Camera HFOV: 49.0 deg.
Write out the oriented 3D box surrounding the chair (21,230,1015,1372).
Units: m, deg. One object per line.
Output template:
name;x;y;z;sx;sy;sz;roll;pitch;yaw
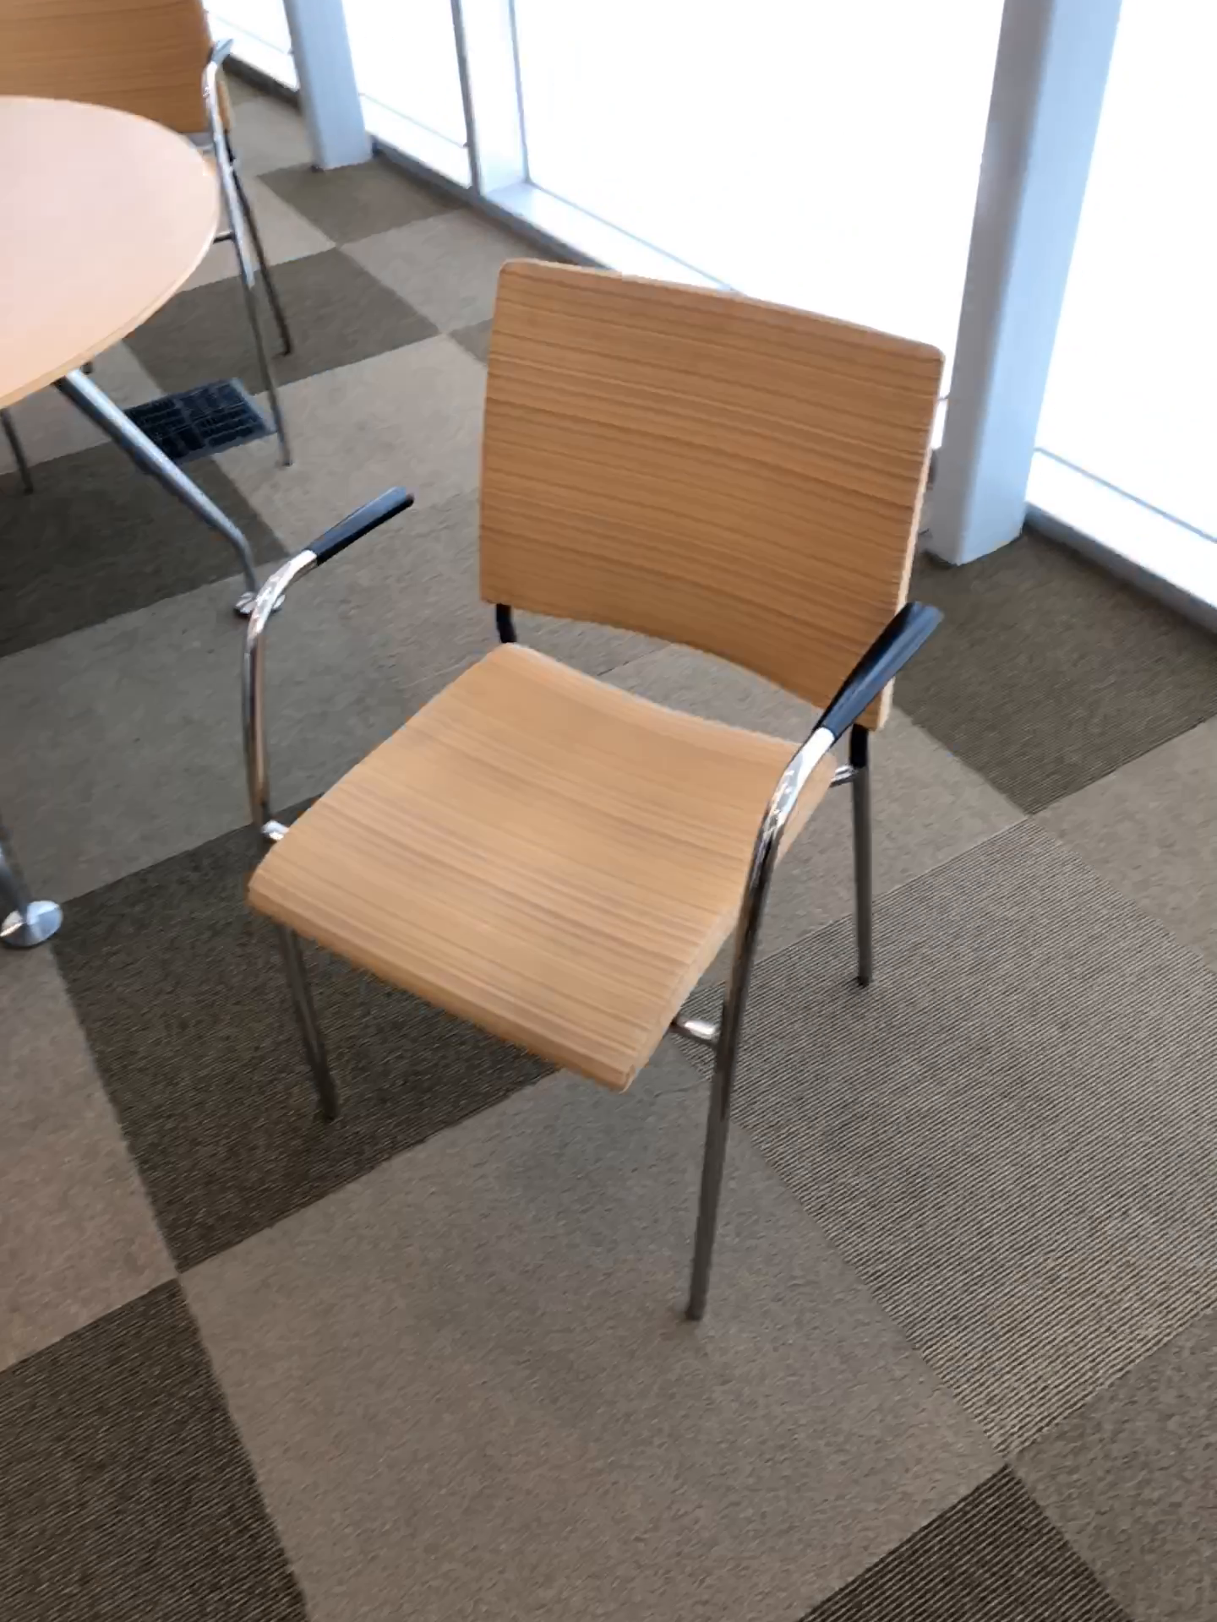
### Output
chair;-0.023;-0.004;1.259;0.516;0.797;0.547;21;50;24
